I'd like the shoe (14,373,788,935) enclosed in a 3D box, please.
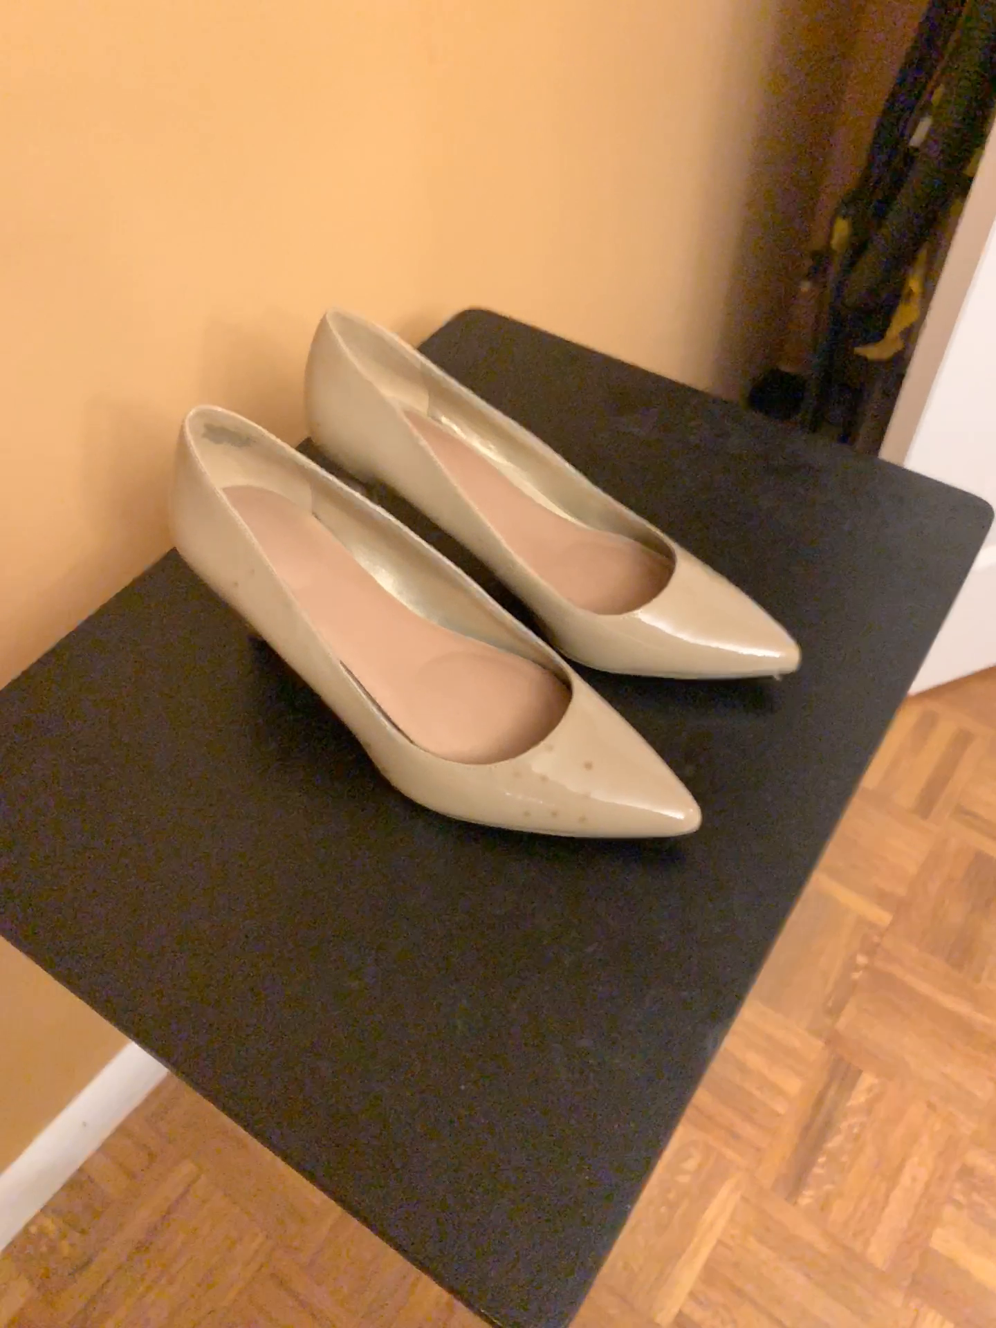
[{"bbox_3d":[-0.046,-0.016,0.440,0.300,0.090,0.100,24,55,20],"label":"shoe"}]

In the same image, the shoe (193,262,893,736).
[{"bbox_3d":[0.013,-0.089,0.493,0.300,0.090,0.100,24,55,20],"label":"shoe"}]
